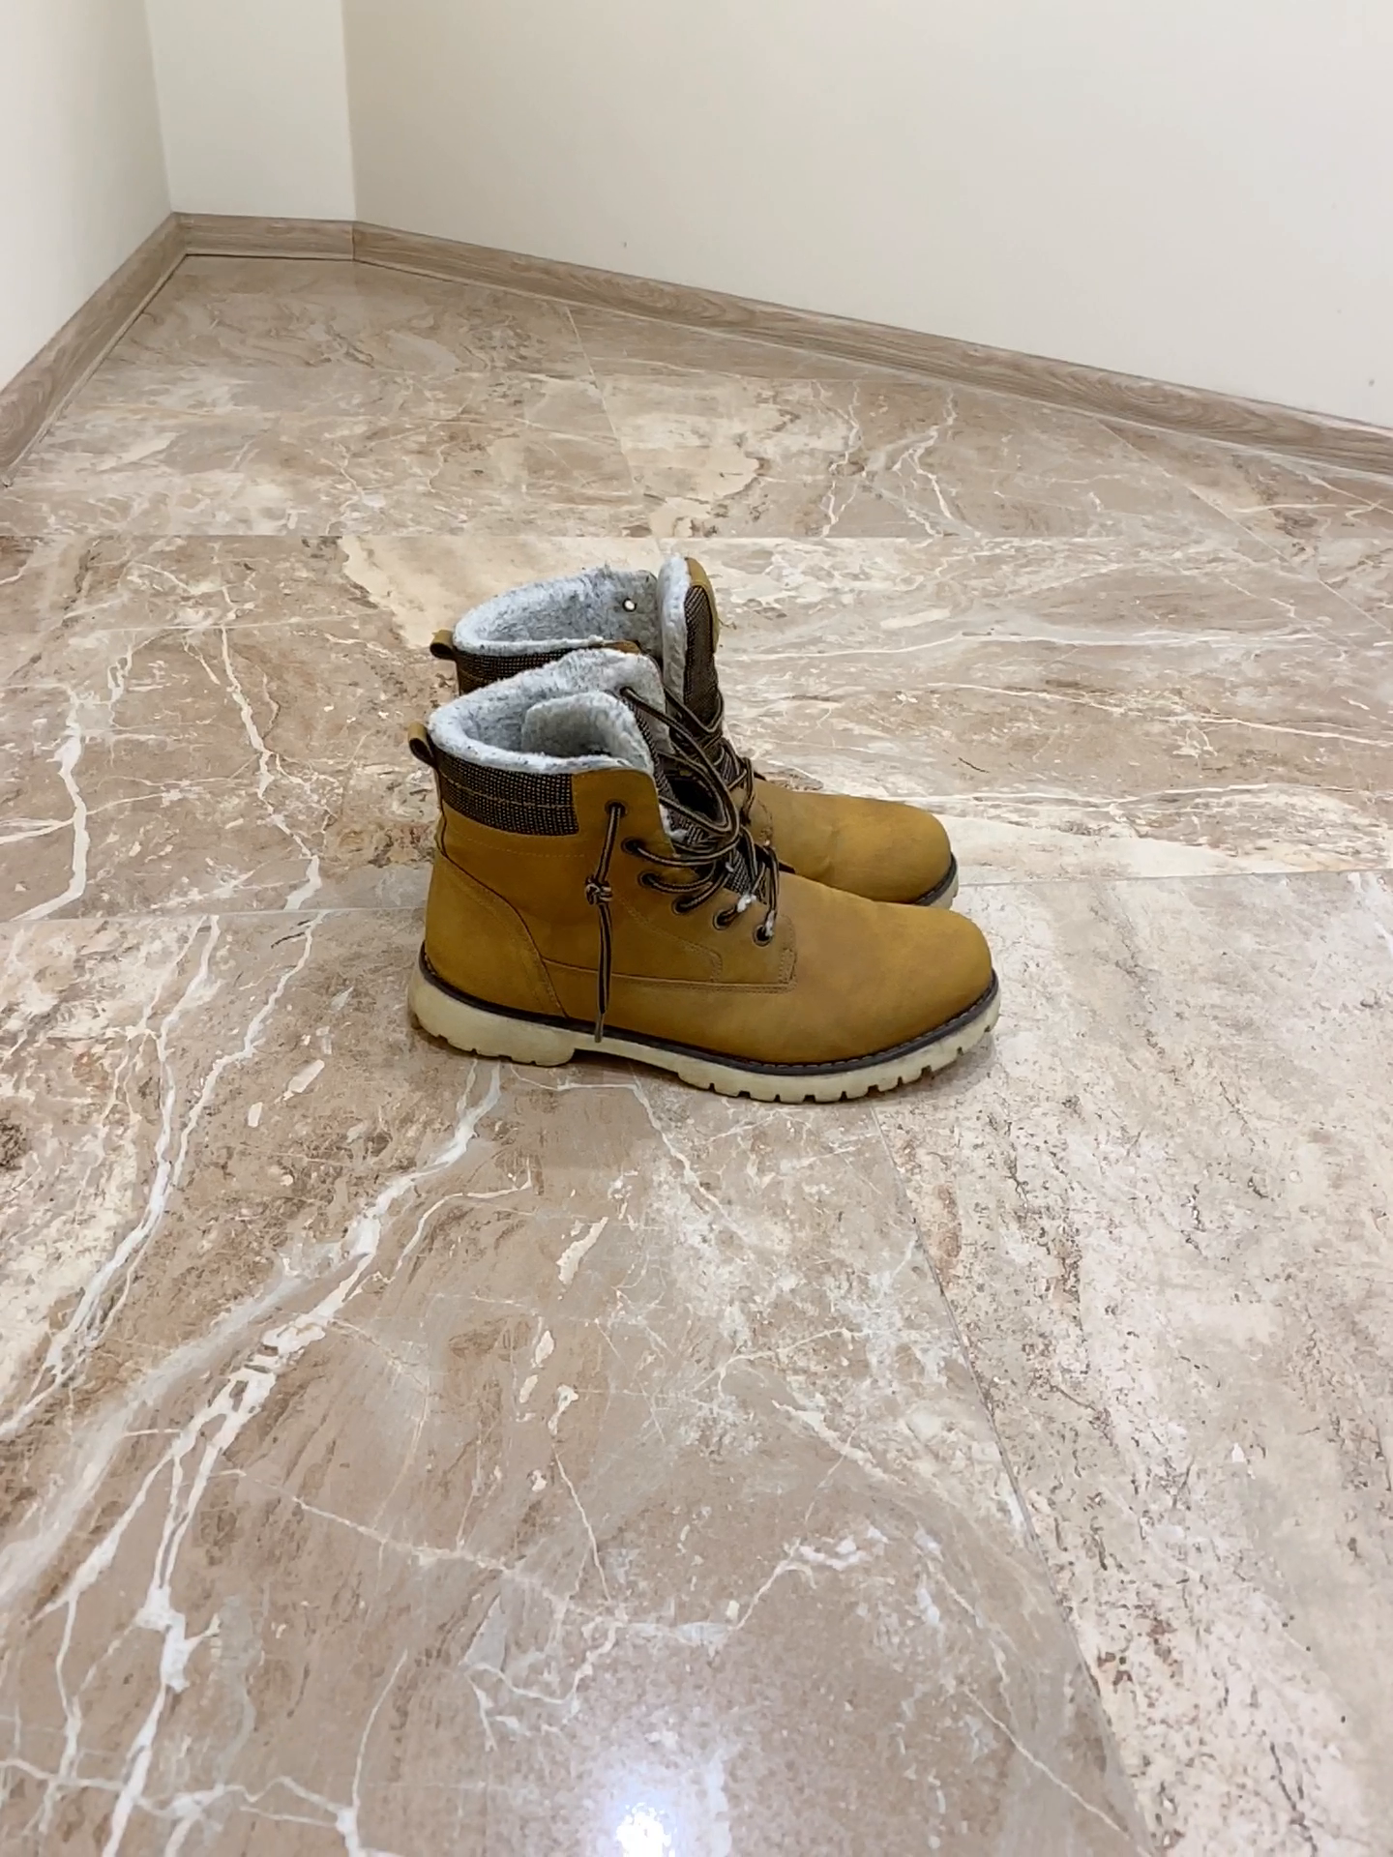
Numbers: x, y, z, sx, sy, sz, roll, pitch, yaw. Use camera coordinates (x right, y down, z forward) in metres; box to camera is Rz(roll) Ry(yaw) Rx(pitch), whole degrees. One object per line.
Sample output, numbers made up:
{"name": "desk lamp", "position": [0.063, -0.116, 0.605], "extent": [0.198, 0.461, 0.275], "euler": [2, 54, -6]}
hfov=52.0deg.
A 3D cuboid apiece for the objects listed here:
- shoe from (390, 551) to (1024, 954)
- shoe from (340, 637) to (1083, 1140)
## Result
{"name": "shoe", "position": [0.004, -0.091, 0.717], "extent": [0.280, 0.139, 0.121], "euler": [5, 33, 1]}
{"name": "shoe", "position": [0.004, -0.019, 0.630], "extent": [0.280, 0.159, 0.121], "euler": [5, 33, 1]}
